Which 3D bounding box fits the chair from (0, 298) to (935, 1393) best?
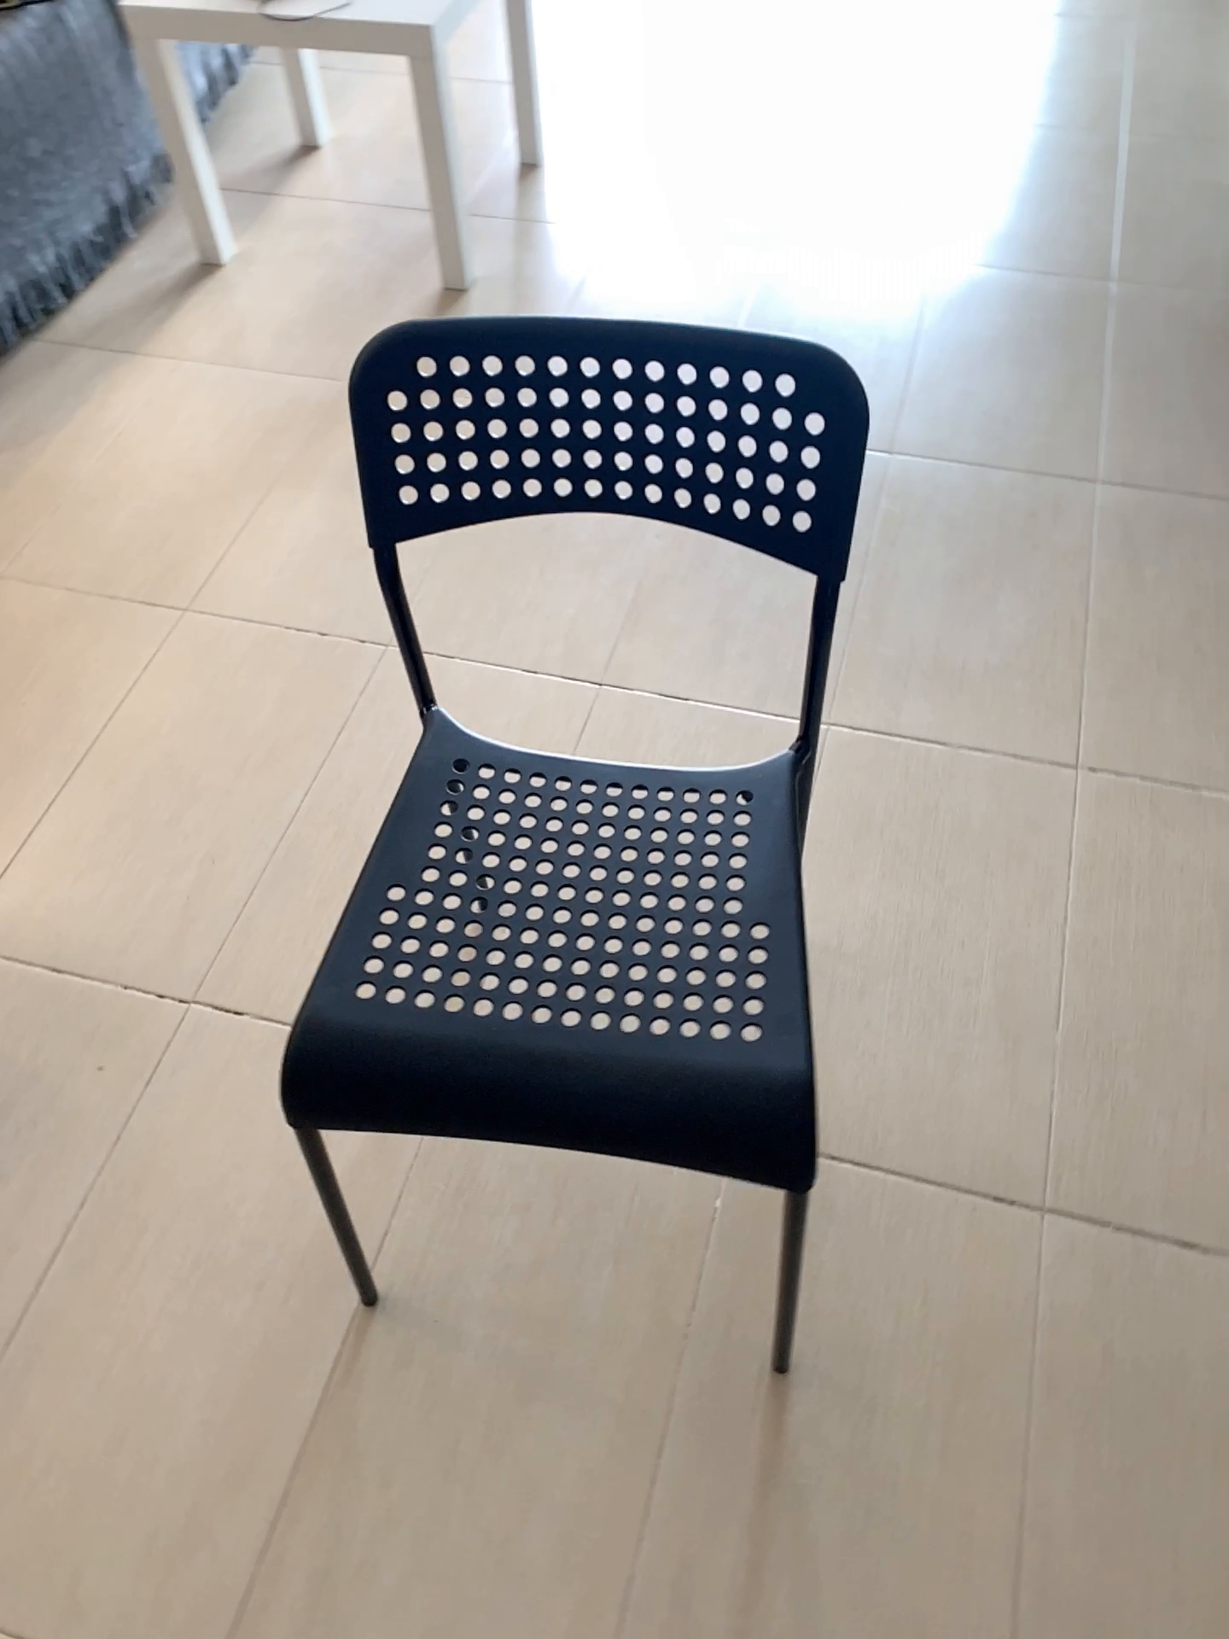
[{"bbox_3d":[-0.025,0.062,0.968,0.420,0.687,0.492,6,53,7],"label":"chair"}]
